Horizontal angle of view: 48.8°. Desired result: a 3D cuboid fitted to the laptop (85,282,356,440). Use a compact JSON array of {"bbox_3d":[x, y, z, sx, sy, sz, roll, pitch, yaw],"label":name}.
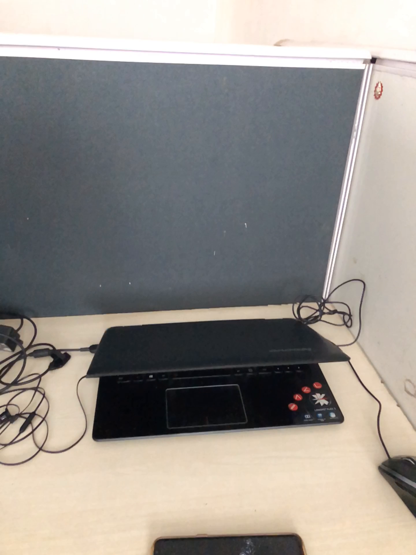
[{"bbox_3d":[0.006,0.104,0.661,0.326,0.082,0.221,-2,29,-6],"label":"laptop"}]
